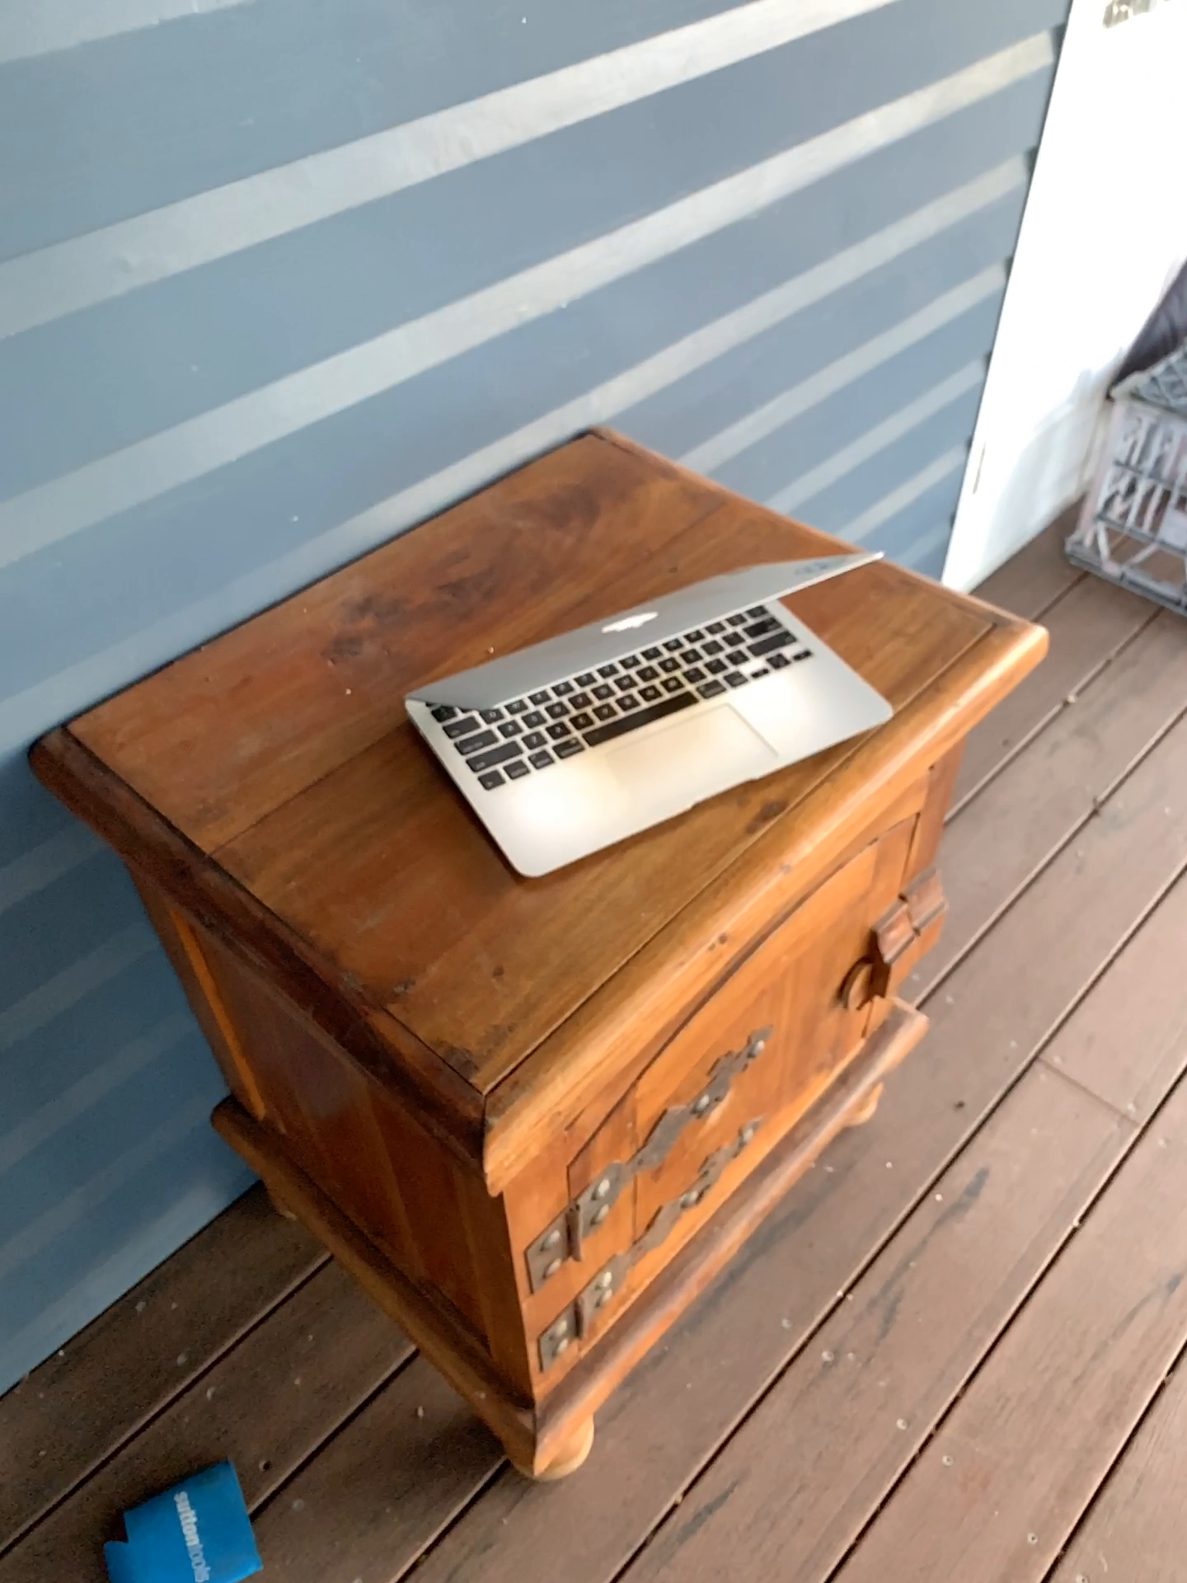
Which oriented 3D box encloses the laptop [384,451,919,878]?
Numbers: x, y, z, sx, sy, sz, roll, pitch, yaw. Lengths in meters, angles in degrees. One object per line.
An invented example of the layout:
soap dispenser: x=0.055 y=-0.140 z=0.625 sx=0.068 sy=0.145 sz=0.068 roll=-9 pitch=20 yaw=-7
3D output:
laptop: x=0.036 y=-0.094 z=0.797 sx=0.282 sy=0.099 sz=0.180 roll=-24 pitch=51 yaw=-18
